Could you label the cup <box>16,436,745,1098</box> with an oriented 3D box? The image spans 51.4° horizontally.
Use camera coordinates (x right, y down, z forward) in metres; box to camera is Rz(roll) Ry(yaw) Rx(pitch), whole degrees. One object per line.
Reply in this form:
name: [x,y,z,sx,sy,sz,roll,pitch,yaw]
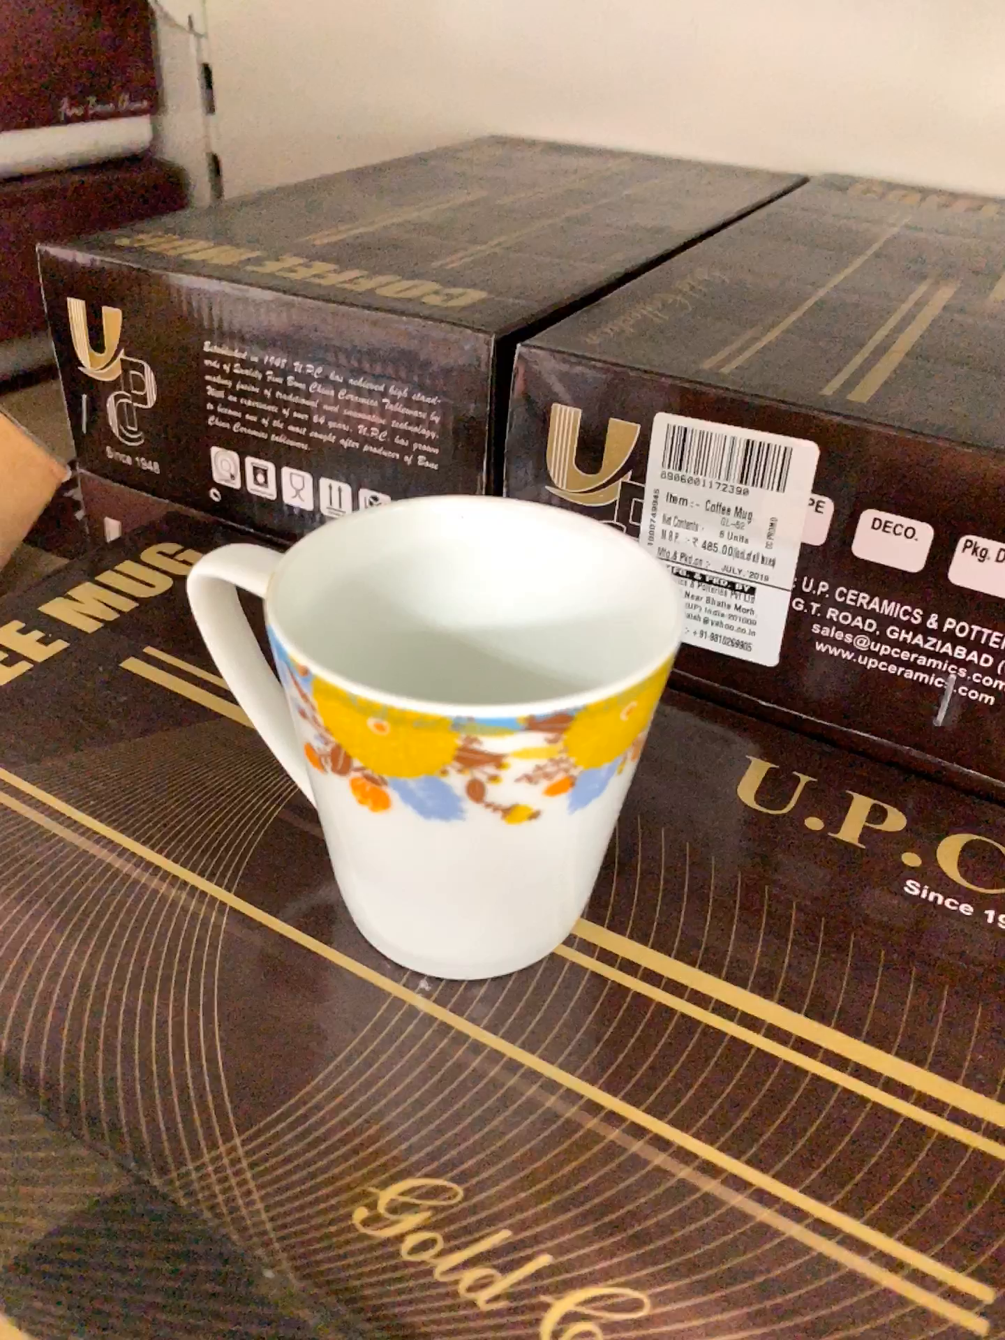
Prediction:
cup: [-0.019,0.008,0.181,0.092,0.058,0.068,21,39,24]
